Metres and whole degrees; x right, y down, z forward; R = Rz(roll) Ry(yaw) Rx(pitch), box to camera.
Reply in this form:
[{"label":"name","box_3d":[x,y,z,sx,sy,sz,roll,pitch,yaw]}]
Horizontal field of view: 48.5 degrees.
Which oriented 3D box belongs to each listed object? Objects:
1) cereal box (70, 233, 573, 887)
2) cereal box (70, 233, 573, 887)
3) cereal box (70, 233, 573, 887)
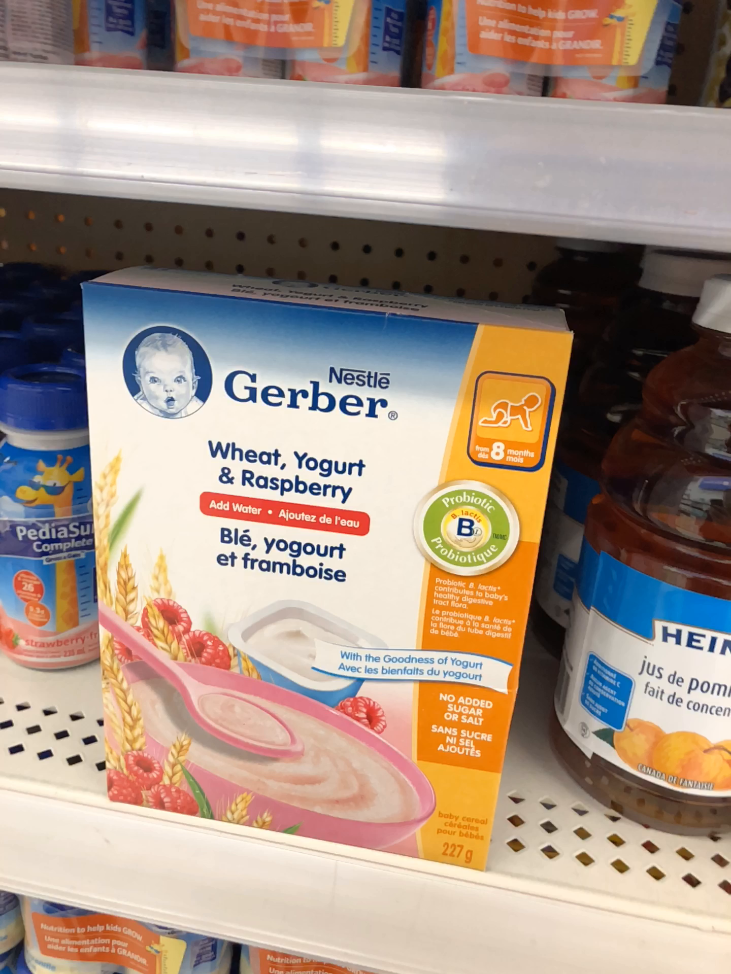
[{"label":"cereal box","box_3d":[-0.020,0.025,0.277,0.140,0.199,0.050,8,20,7]},{"label":"cereal box","box_3d":[-0.020,0.025,0.277,0.140,0.199,0.050,8,20,7]},{"label":"cereal box","box_3d":[-0.020,0.025,0.277,0.140,0.199,0.050,8,20,7]}]
